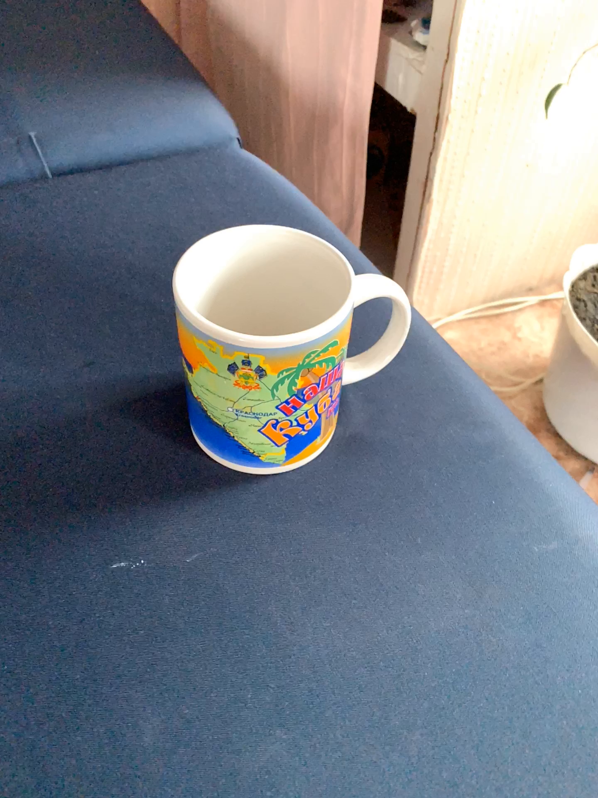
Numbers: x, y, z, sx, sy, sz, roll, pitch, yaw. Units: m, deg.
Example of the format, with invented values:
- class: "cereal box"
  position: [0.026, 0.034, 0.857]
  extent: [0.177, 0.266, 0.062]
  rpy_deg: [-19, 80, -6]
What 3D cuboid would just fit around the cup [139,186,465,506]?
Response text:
- class: "cup"
  position: [-0.002, -0.029, 0.314]
  extent: [0.120, 0.099, 0.091]
  rpy_deg: [-18, 52, -16]
